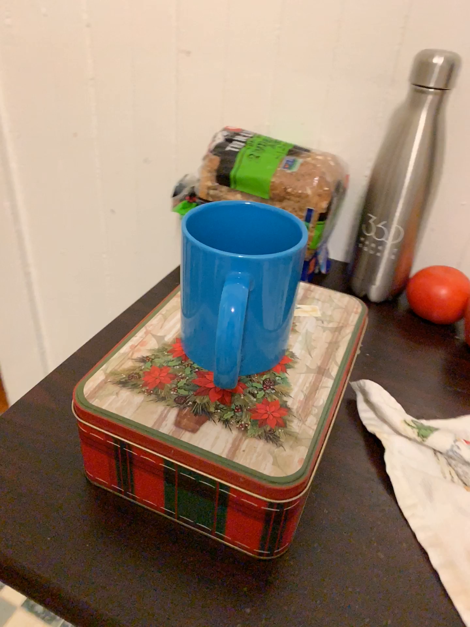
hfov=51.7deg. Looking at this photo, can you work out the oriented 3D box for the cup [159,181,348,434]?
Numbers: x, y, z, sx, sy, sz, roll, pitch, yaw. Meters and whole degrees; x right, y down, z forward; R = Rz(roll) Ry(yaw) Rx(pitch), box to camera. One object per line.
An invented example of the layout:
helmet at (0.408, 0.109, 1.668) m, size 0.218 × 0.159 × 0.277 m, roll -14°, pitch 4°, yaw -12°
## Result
cup at (0.006, -0.010, 0.312) m, size 0.090 × 0.099 × 0.131 m, roll 4°, pitch 35°, yaw -2°
